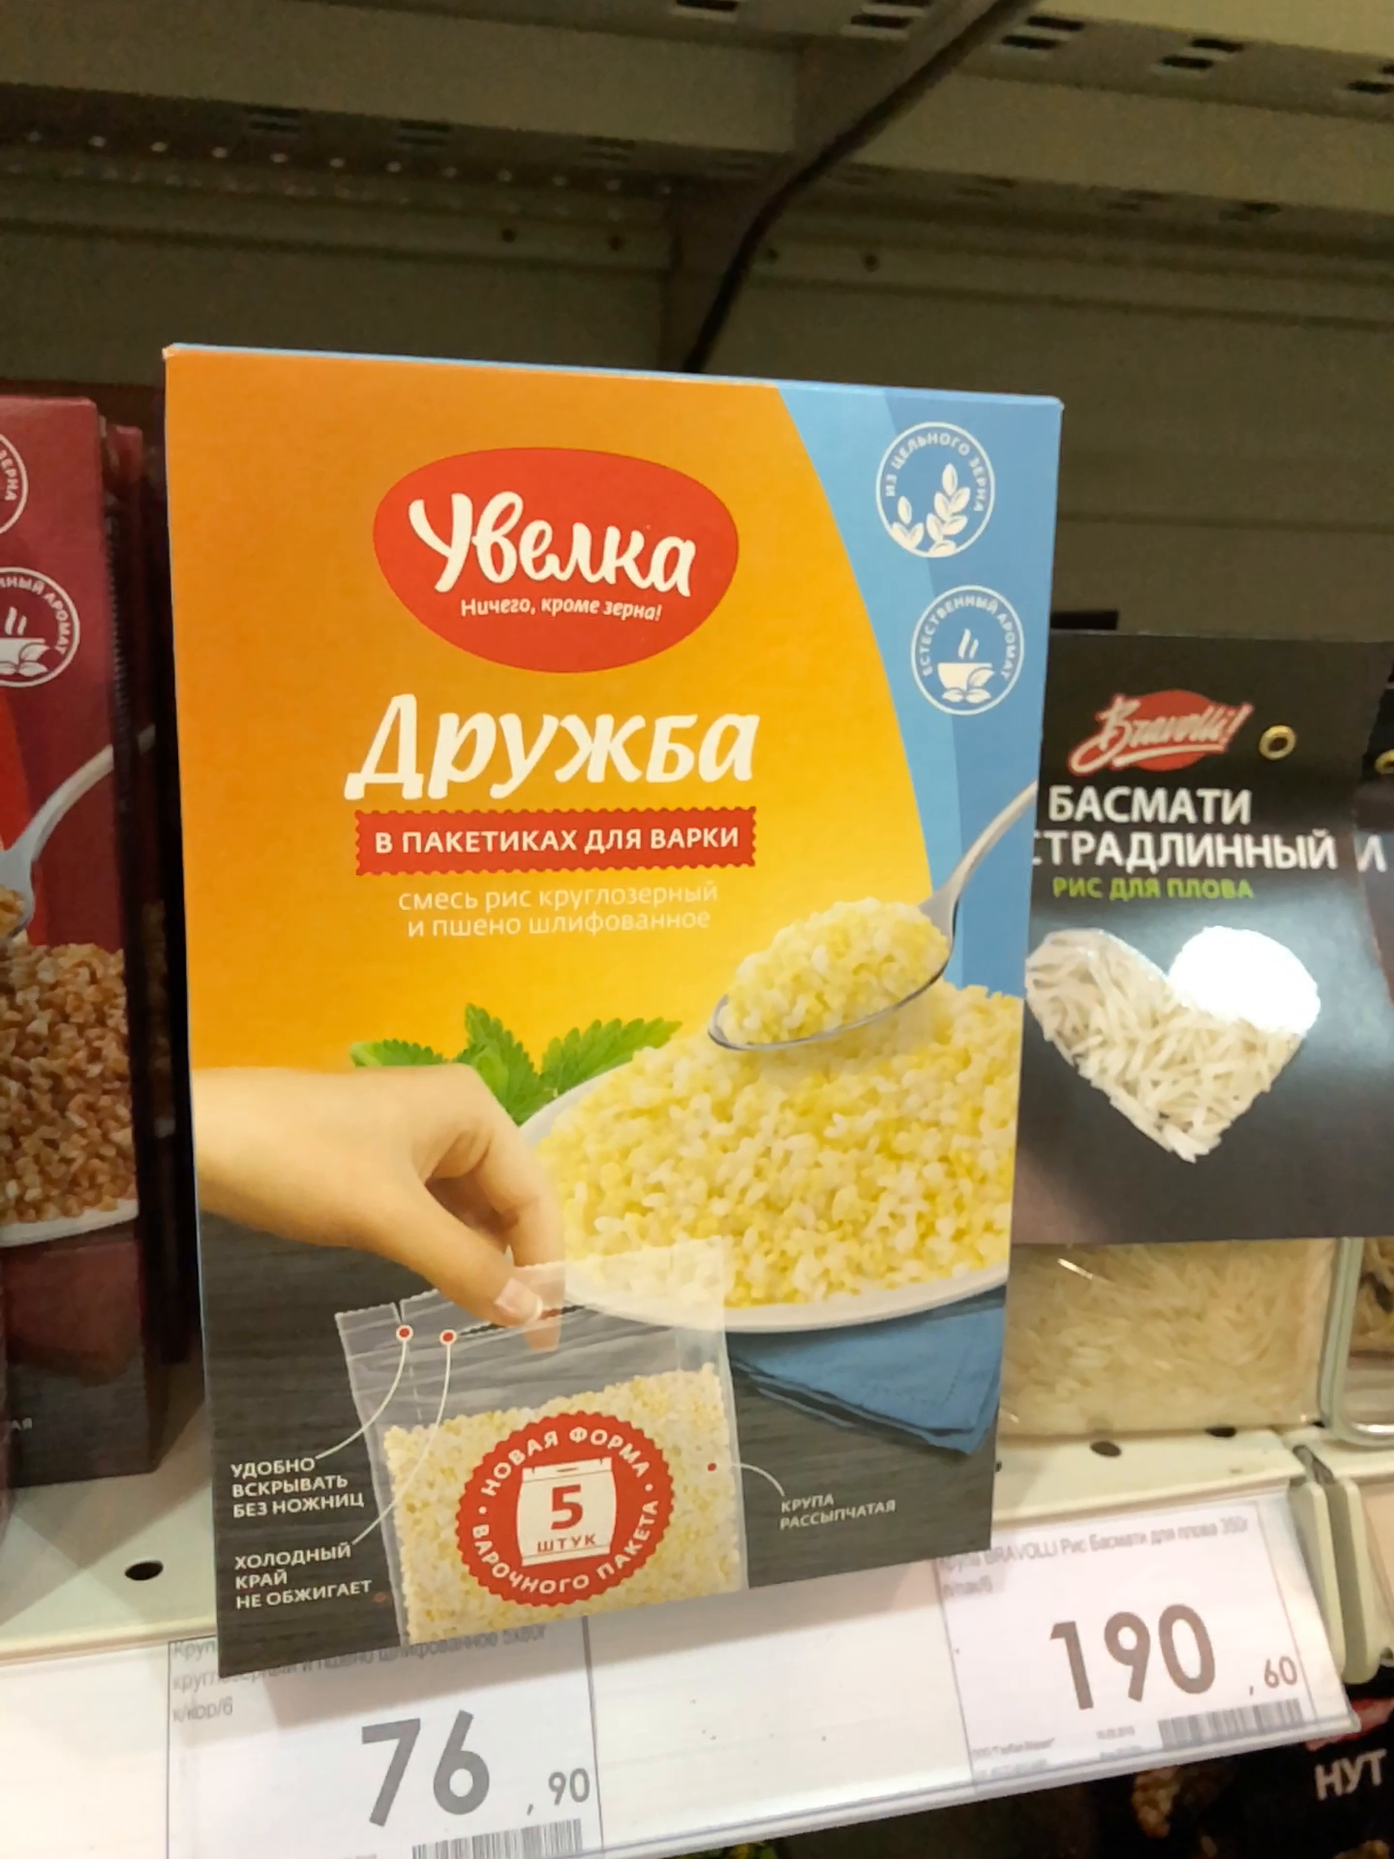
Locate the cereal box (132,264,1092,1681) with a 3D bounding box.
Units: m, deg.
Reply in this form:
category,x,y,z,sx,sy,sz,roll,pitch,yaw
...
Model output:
category,x,y,z,sx,sy,sz,roll,pitch,yaw
cereal box,-0.013,0.007,0.241,0.130,0.189,0.040,-2,11,-17
